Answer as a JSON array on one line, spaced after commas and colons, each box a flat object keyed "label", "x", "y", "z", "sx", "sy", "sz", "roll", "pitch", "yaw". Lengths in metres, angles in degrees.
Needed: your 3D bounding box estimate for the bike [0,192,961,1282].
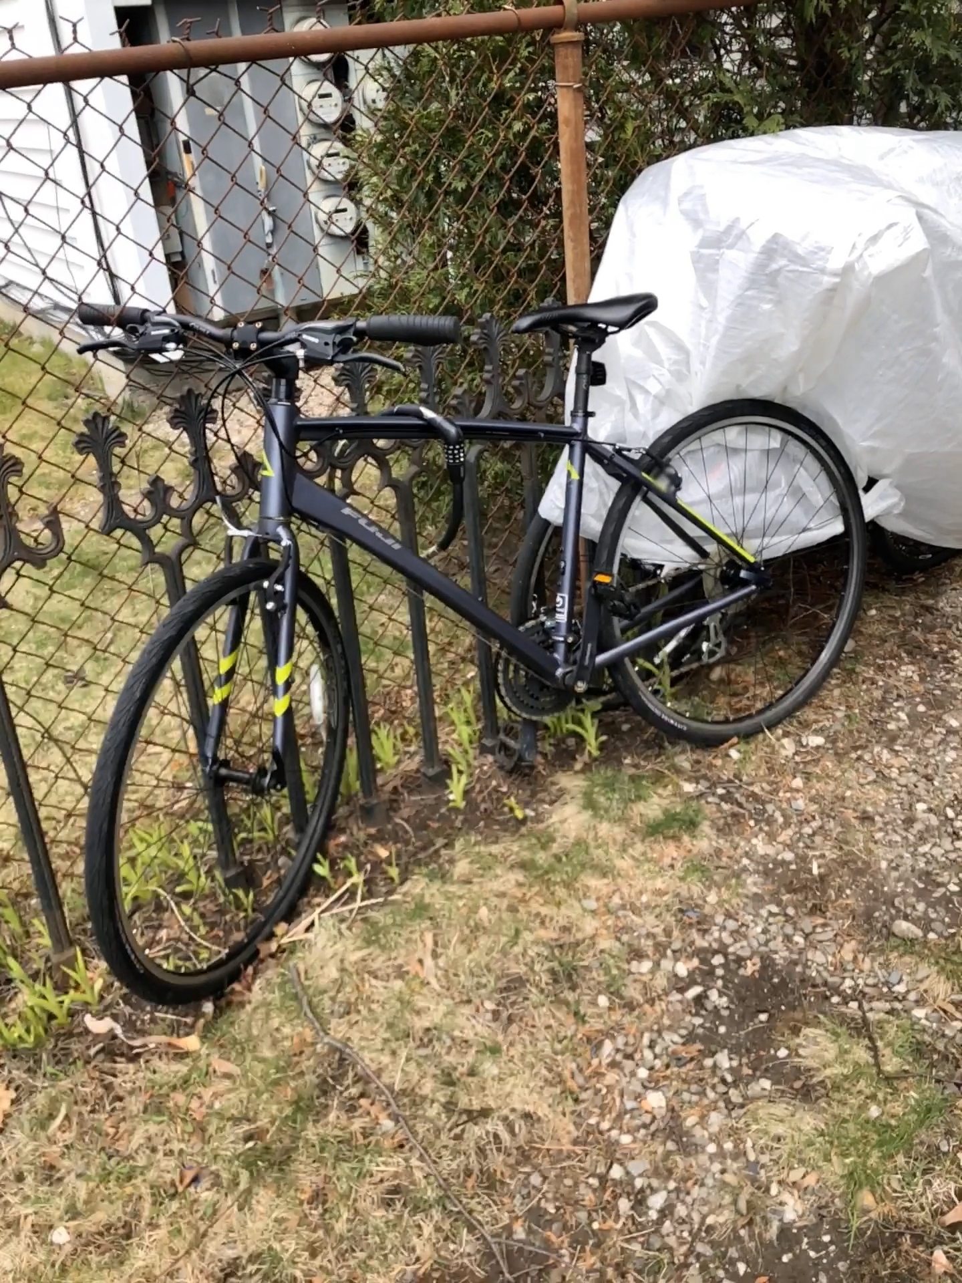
[{"label": "bike", "x": 0.217, "y": -0.088, "z": 2.064, "sx": 2.201, "sy": 1.347, "sz": 0.679, "roll": -25, "pitch": 35, "yaw": -39}]
